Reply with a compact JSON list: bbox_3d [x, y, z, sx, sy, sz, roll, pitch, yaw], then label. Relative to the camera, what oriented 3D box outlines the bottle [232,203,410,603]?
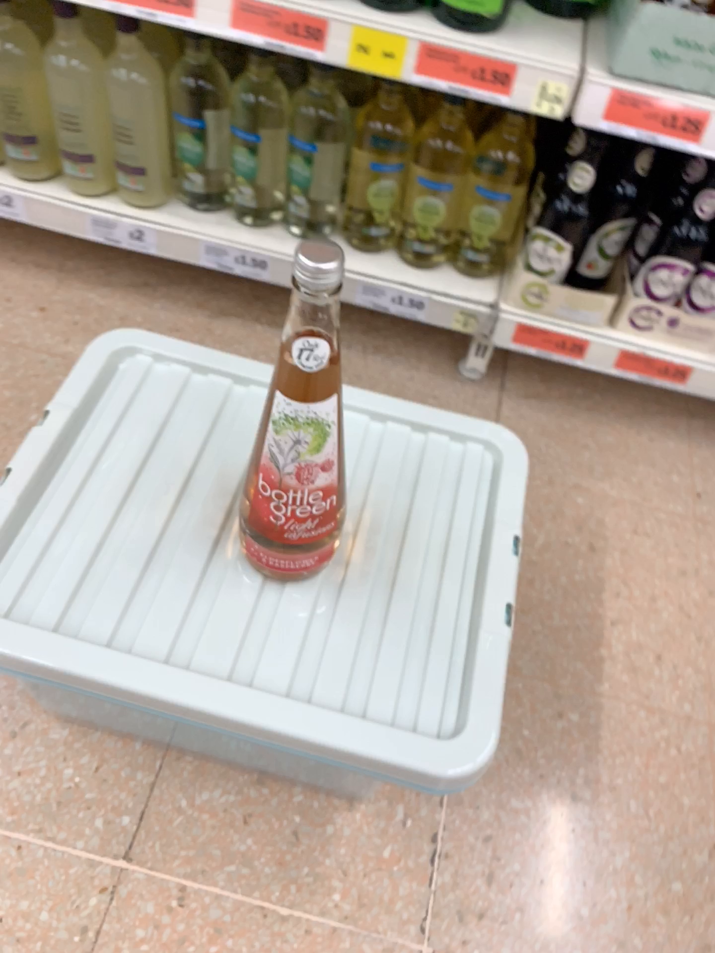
[{"bbox_3d":[-0.035,-0.027,0.520,0.080,0.299,0.091,12,53,0],"label":"bottle"}]
